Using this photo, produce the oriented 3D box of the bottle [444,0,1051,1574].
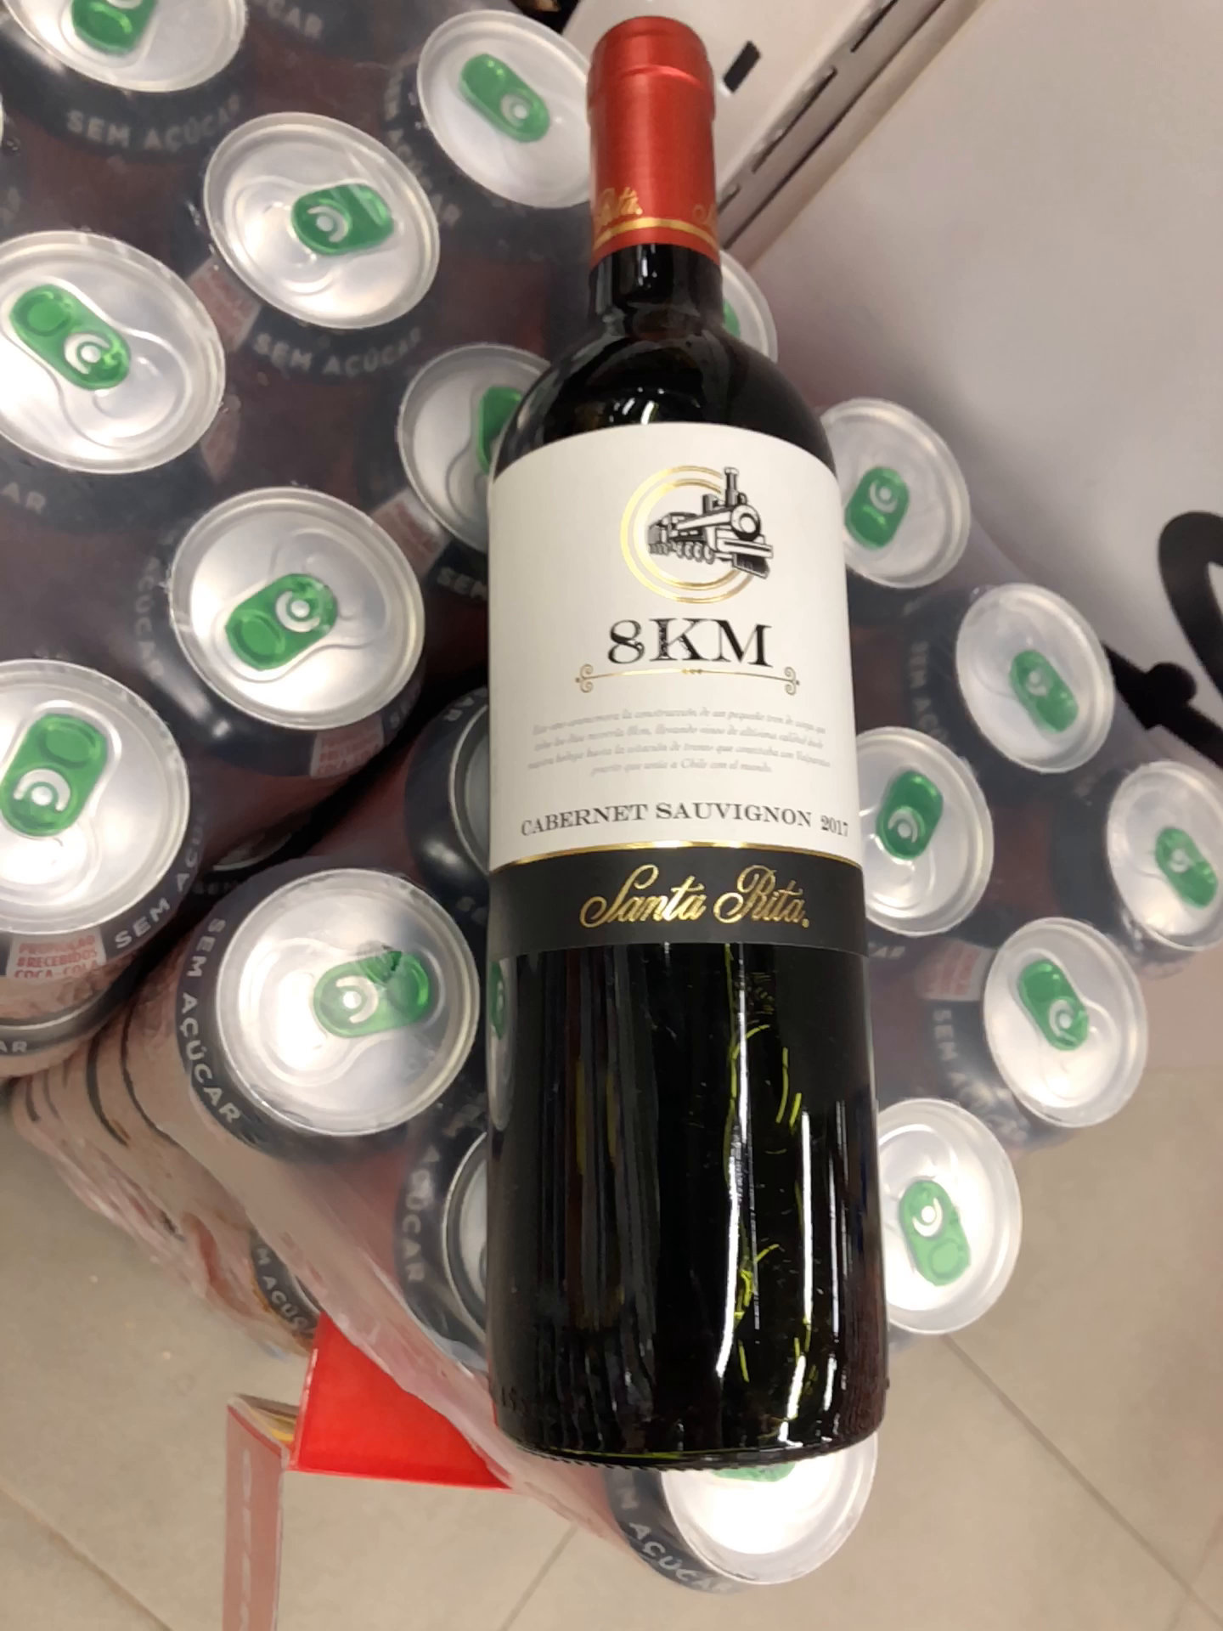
[{"bbox_3d":[0.017,-0.041,0.272,0.080,0.070,0.320,5,75,-25],"label":"bottle"}]
